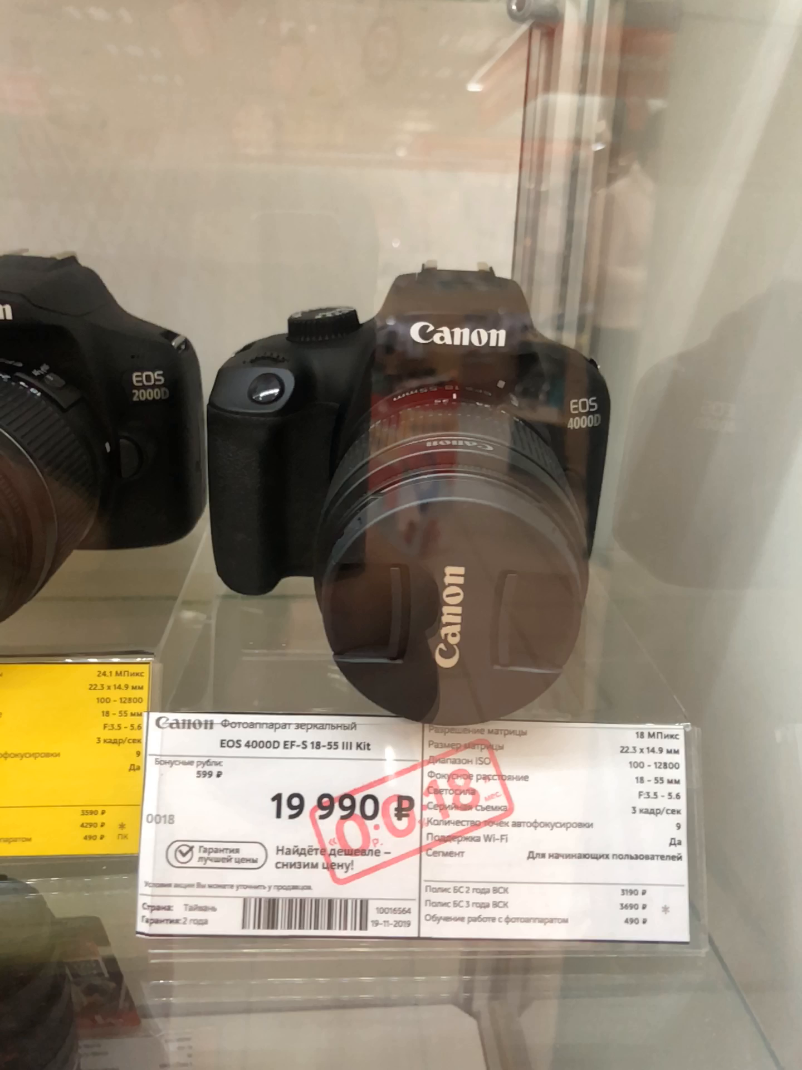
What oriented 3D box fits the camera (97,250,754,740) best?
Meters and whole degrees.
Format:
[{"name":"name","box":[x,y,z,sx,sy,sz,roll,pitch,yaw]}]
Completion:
[{"name":"camera","box":[0.001,-0.025,0.254,0.125,0.100,0.147,1,18,-3]}]
